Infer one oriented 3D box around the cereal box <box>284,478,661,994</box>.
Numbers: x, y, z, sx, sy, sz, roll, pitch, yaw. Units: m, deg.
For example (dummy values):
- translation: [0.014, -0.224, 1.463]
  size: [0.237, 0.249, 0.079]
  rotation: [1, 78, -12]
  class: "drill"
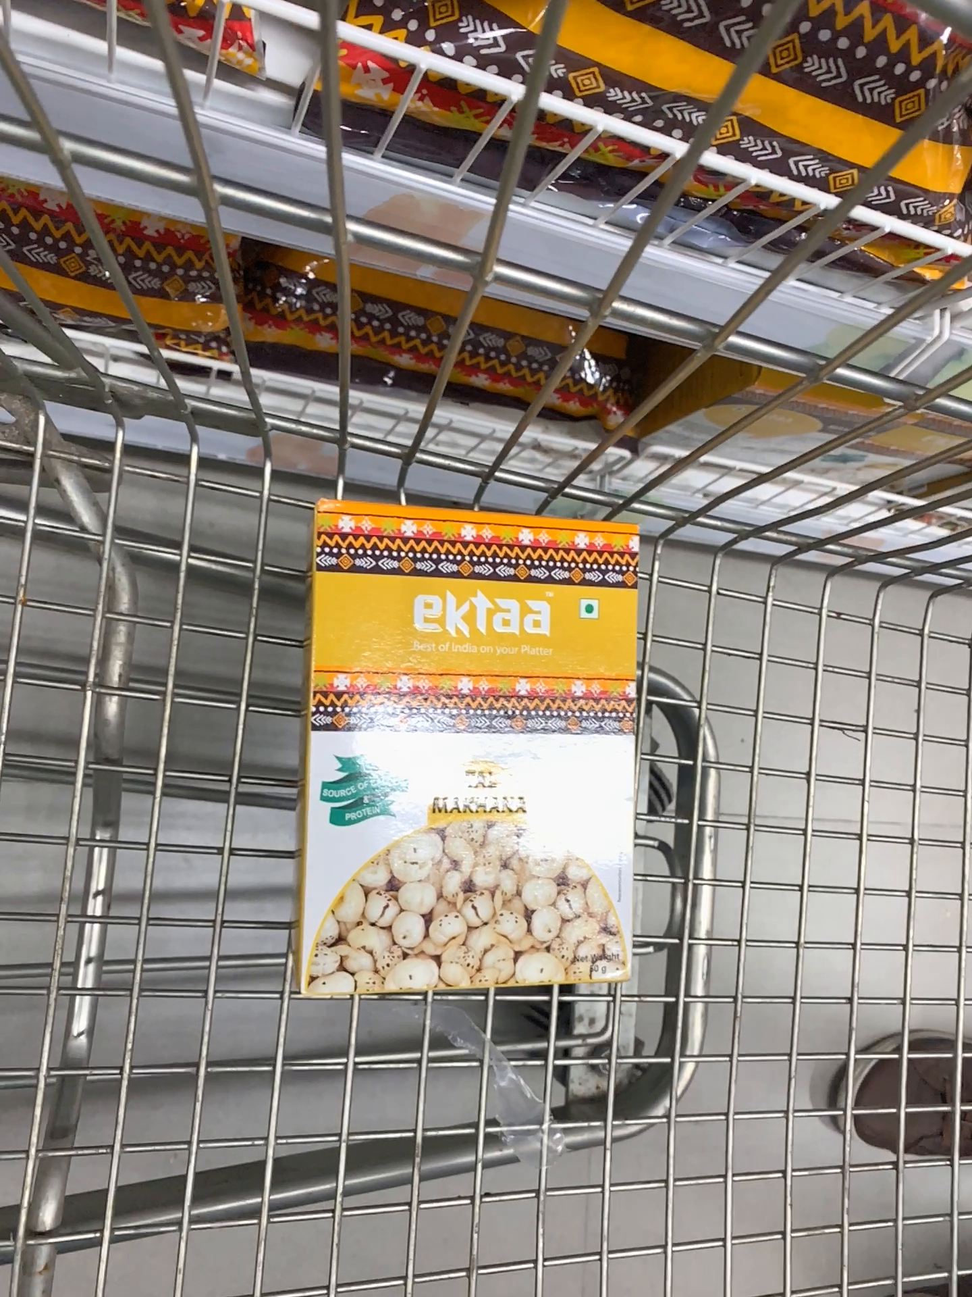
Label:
- translation: [-0.009, 0.033, 0.399]
  size: [0.130, 0.070, 0.180]
  rotation: [3, 89, -14]
  class: "cereal box"
